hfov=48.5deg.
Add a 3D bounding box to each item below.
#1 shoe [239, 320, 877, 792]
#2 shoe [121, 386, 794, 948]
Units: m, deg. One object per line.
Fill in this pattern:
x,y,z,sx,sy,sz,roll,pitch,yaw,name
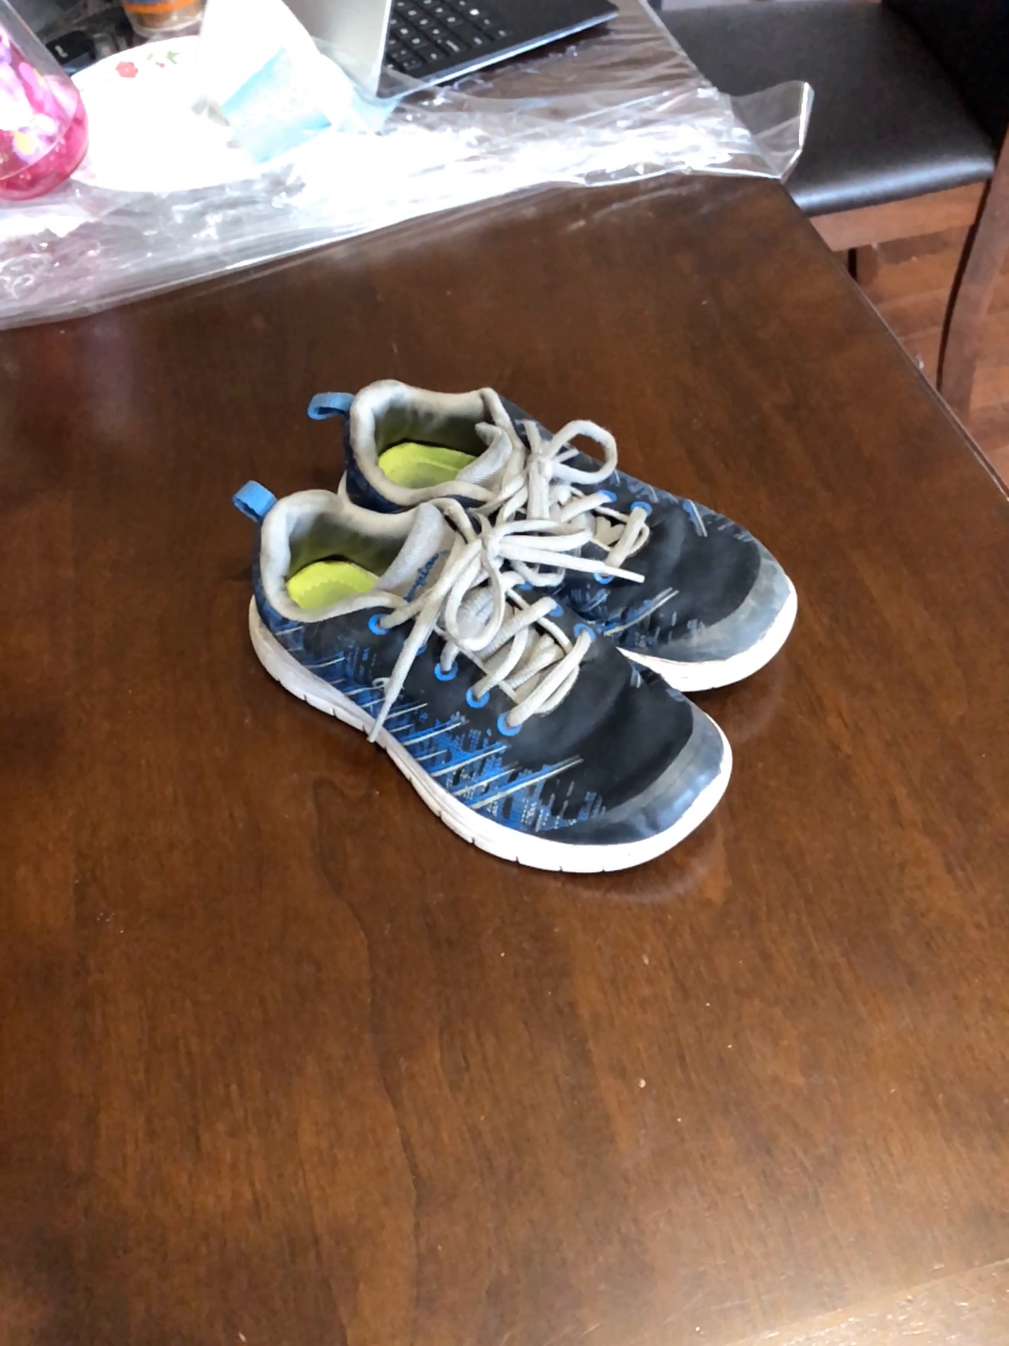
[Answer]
0.020,-0.056,0.476,0.230,0.090,0.100,22,59,20,shoe
-0.019,-0.010,0.428,0.220,0.090,0.100,27,61,23,shoe
